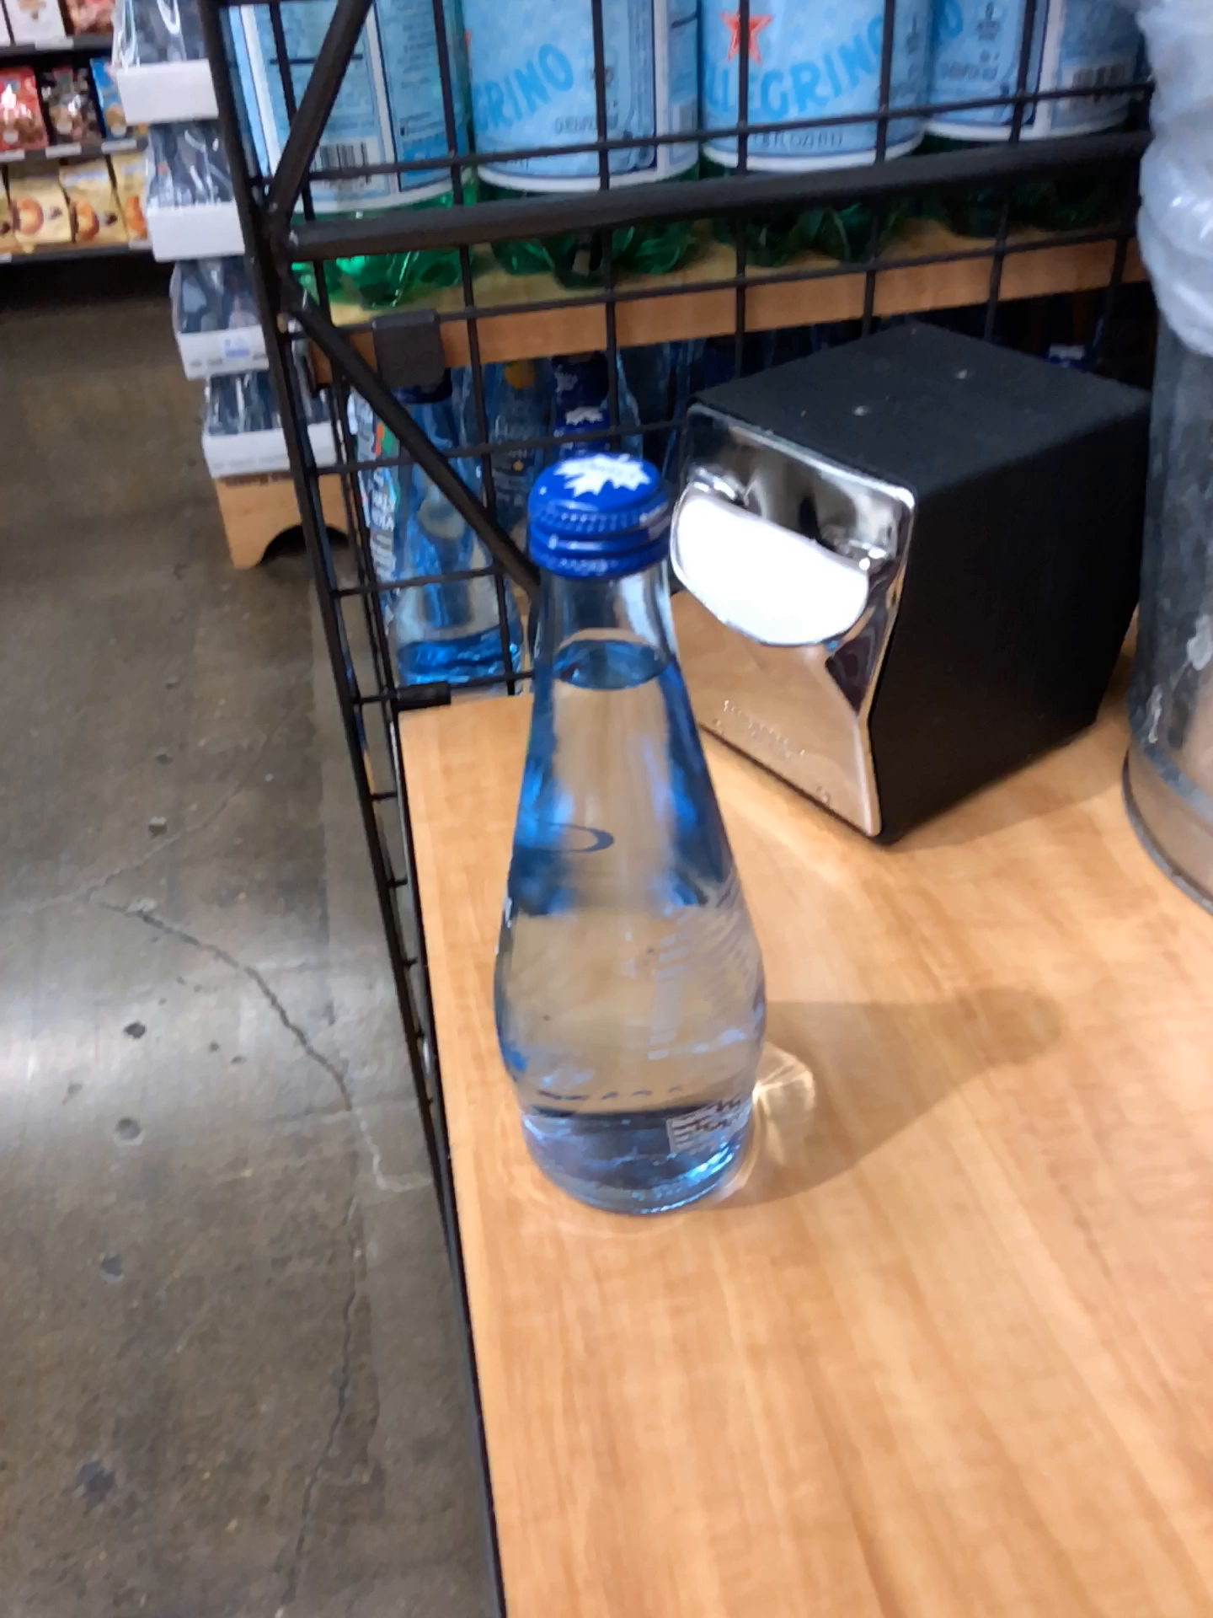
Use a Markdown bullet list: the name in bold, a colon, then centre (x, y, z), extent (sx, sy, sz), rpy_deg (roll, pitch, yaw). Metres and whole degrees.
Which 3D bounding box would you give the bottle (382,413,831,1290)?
- **bottle**: centre (0.005, 0.018, 0.302), extent (0.060, 0.189, 0.060), rpy_deg (-2, 37, 1)
